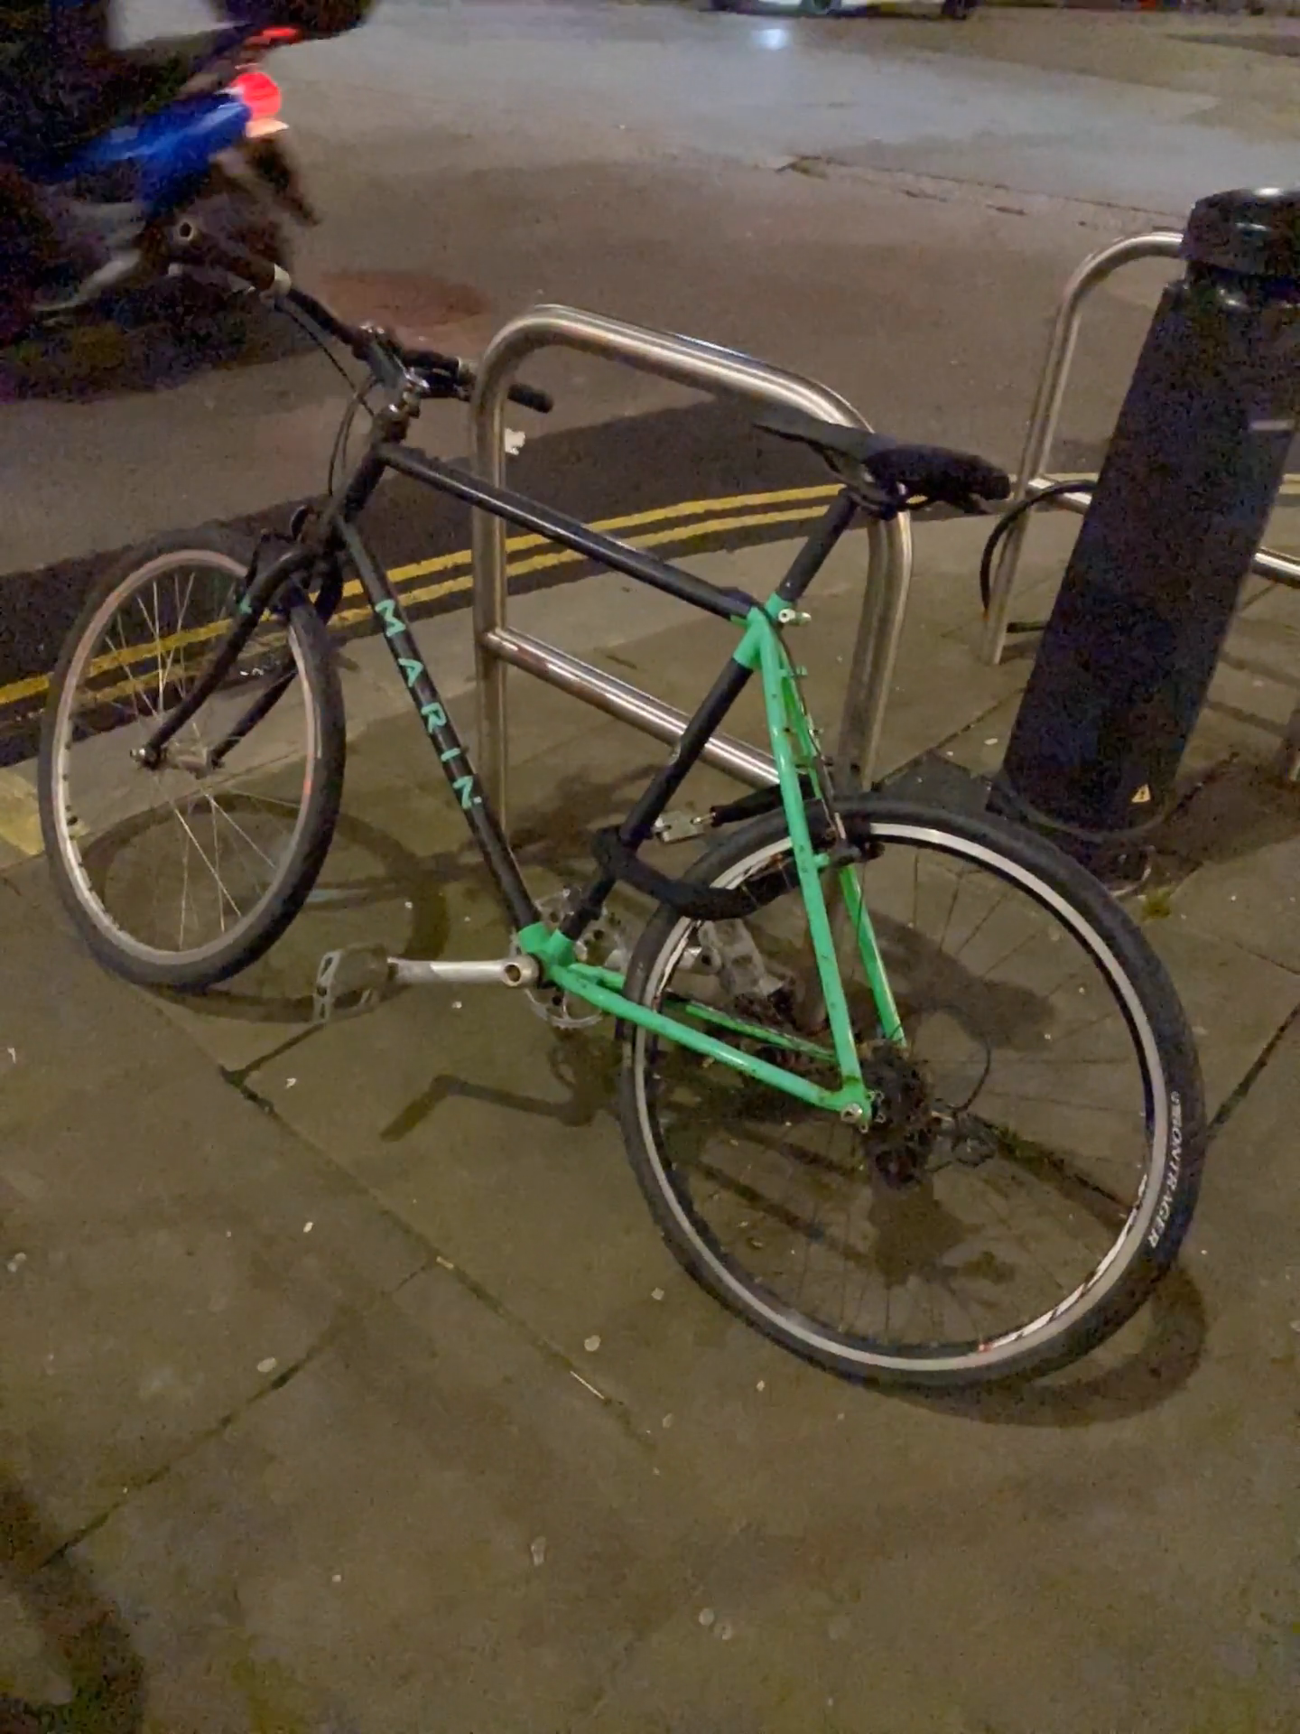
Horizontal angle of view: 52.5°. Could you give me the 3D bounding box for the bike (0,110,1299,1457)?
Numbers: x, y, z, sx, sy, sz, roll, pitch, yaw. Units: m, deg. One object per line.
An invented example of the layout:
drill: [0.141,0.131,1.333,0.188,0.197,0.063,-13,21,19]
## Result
bike: [-0.026,-0.255,1.716,1.688,1.014,0.642,26,42,26]
